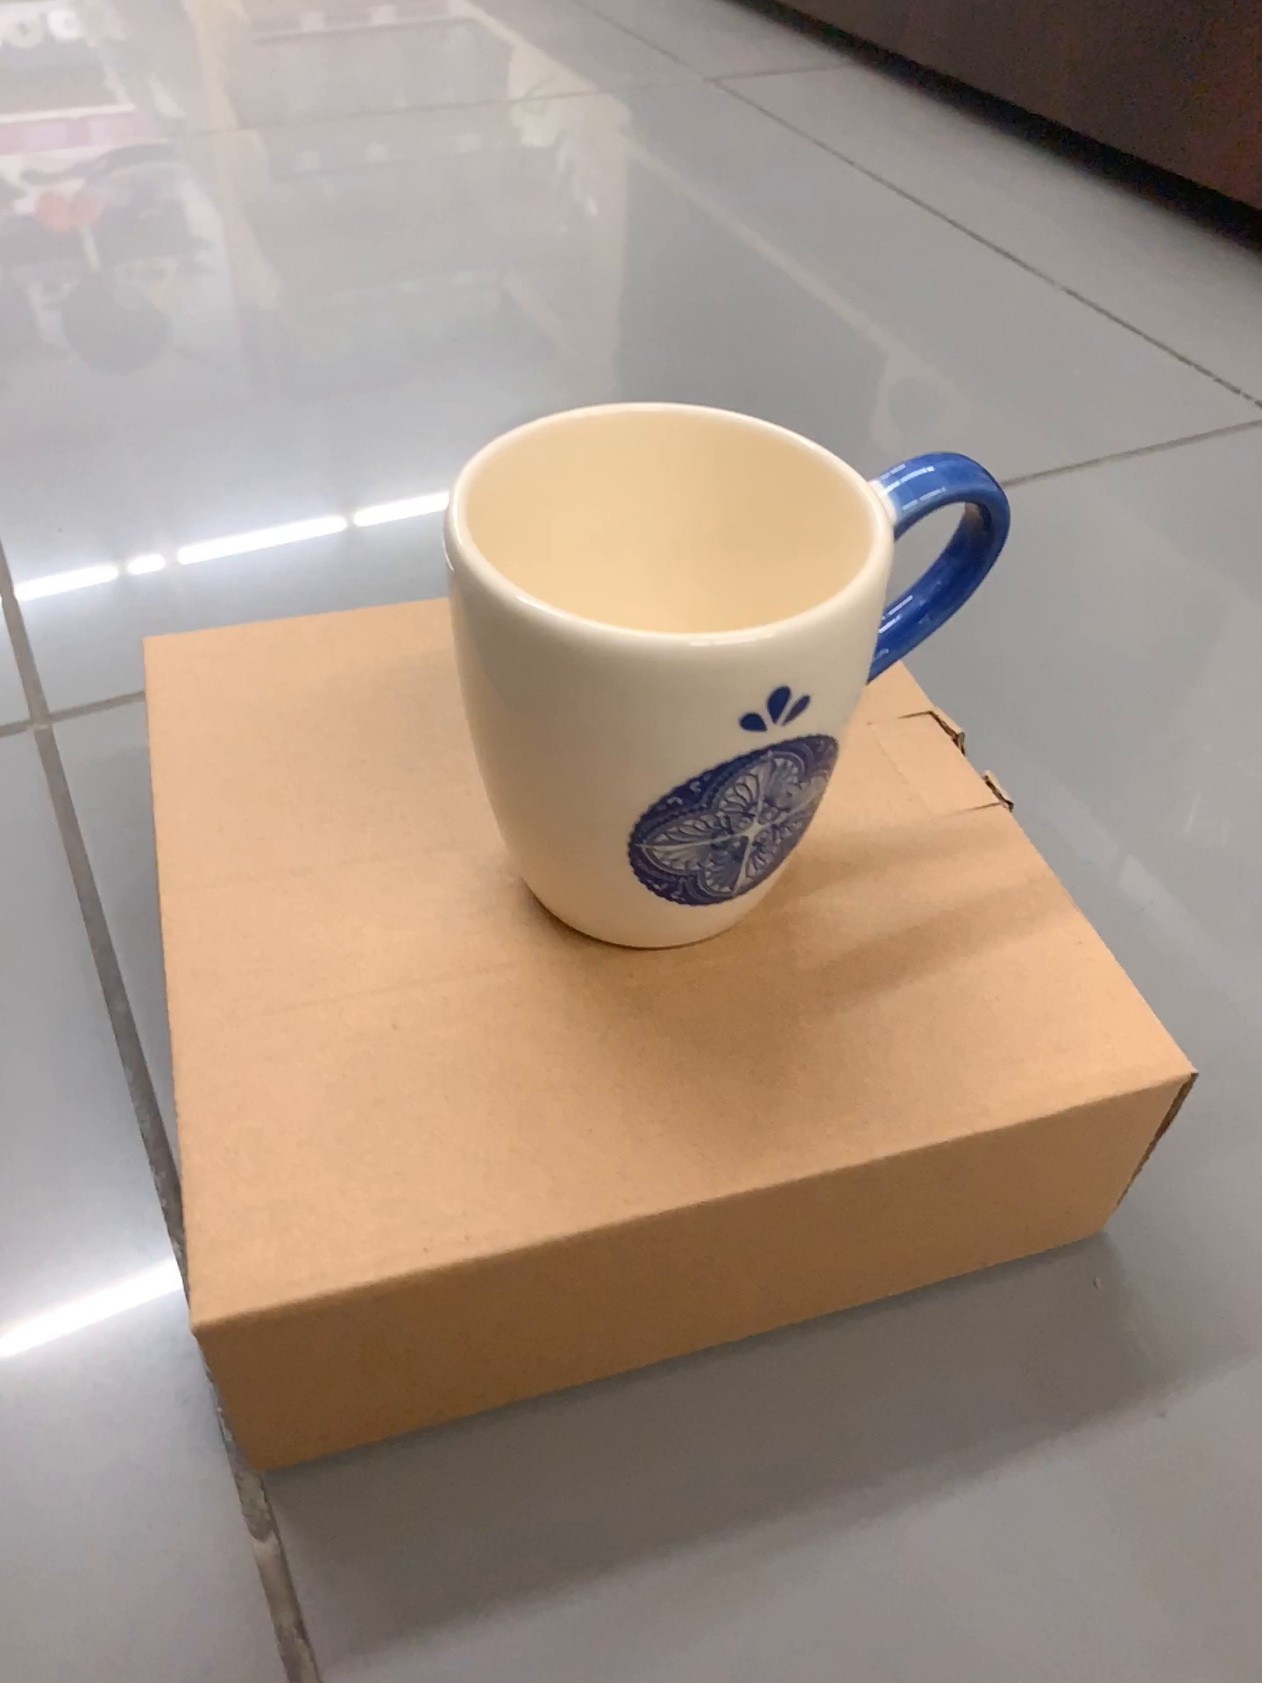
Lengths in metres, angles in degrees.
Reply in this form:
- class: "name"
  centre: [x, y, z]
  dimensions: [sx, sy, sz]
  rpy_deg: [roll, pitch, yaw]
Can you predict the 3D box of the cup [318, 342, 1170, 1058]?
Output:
- class: "cup"
  centre: [0.019, -0.036, 0.286]
  dimensions: [0.140, 0.090, 0.090]
  rpy_deg: [-17, 48, -19]
